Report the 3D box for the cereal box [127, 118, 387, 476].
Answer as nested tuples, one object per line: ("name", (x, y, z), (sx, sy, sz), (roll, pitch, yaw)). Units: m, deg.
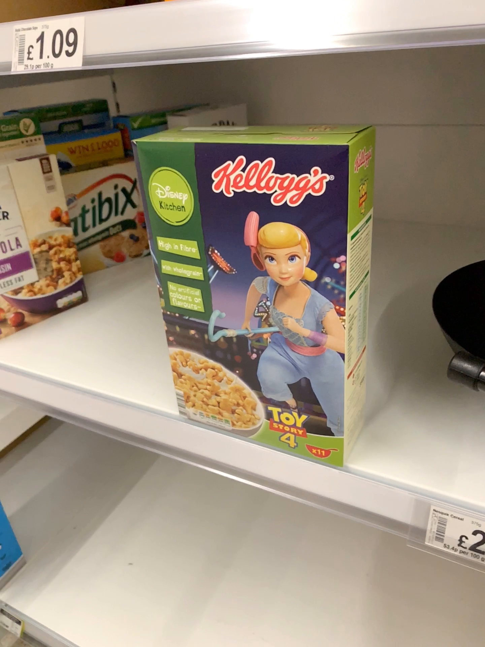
("cereal box", (0.019, -0.025, 0.466), (0.190, 0.297, 0.081), (11, 32, 27))
